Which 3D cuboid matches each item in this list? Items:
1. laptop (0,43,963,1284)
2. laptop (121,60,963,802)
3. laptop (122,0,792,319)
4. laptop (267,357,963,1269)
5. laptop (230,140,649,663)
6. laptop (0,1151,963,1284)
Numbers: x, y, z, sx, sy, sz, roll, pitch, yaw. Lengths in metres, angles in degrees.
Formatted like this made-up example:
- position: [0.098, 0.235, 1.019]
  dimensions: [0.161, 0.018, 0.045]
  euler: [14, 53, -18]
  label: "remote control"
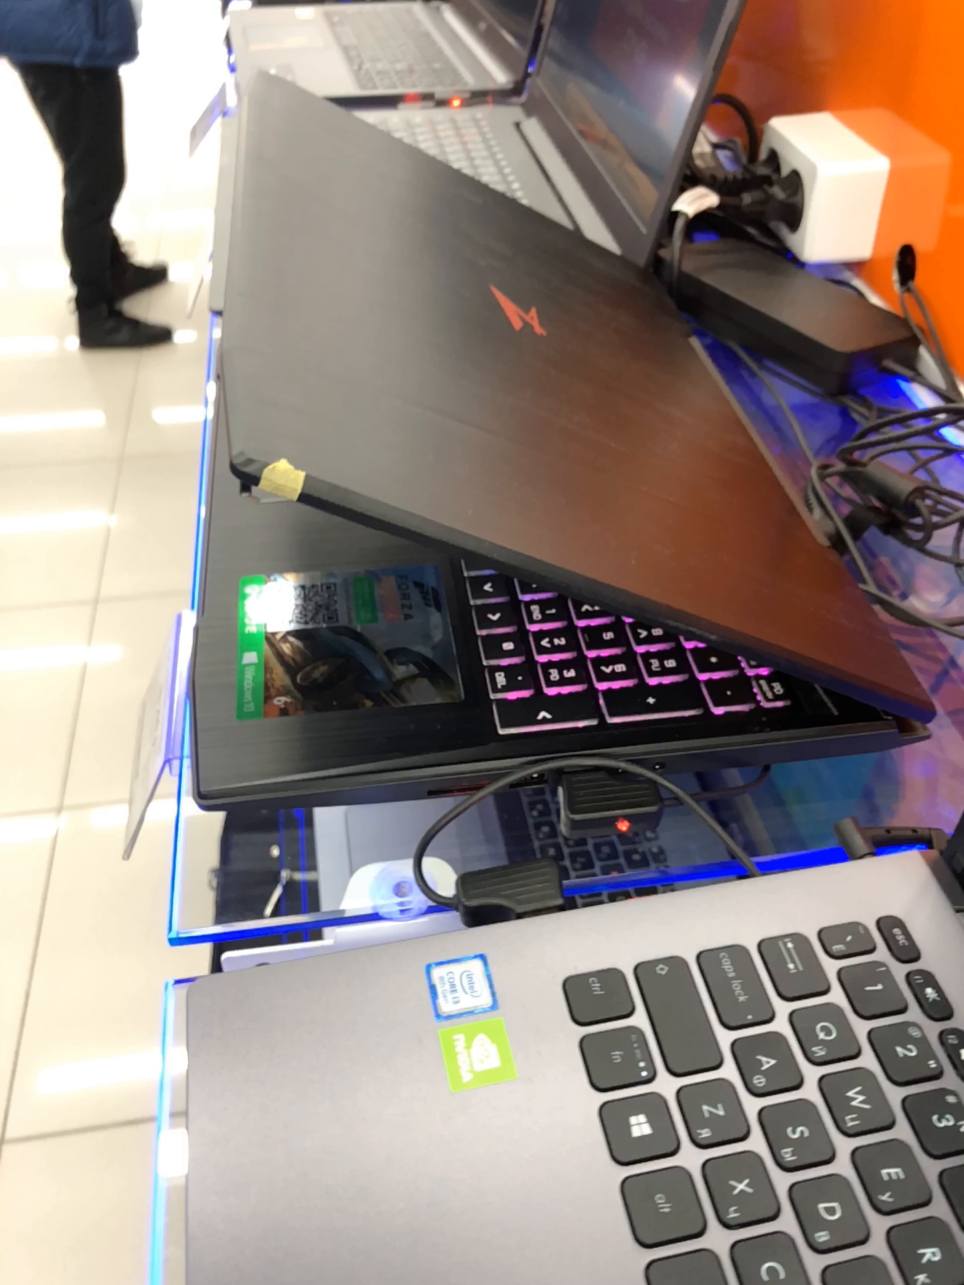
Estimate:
- position: [0.065, 0.109, 0.109]
  dimensions: [0.230, 0.216, 0.353]
  euler: [-9, 41, -9]
  label: "laptop"
- position: [0.000, -0.127, 0.455]
  dimensions: [0.243, 0.121, 0.366]
  euler: [-6, 42, -7]
  label: "laptop"
- position: [-0.029, -0.417, 0.705]
  dimensions: [0.318, 0.228, 0.360]
  euler: [-6, 42, -8]
  label: "laptop"
- position: [0.041, 0.063, 0.598]
  dimensions: [0.286, 0.256, 0.396]
  euler: [-7, 41, -6]
  label: "laptop"
- position: [-0.058, -0.228, 0.932]
  dimensions: [0.272, 0.270, 0.408]
  euler: [-5, 42, -7]
  label: "laptop"
- position: [0.069, 0.369, 0.240]
  dimensions: [0.229, 0.240, 0.361]
  euler: [-6, 40, -6]
  label: "laptop"
